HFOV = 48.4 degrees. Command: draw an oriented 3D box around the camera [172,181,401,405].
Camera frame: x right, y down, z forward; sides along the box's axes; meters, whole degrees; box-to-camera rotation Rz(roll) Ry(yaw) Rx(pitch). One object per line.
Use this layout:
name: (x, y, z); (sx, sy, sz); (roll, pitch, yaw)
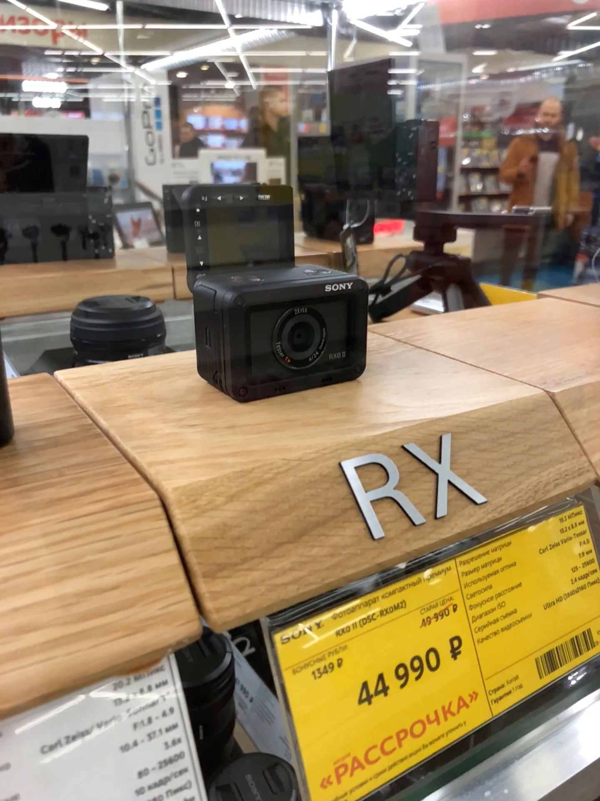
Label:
camera: (-0.006, -0.043, 0.242); (0.062, 0.067, 0.050); (-12, 23, -30)

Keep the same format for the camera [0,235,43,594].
camera: (-0.132, -0.005, 0.178); (0.105, 0.067, 0.041); (-12, 23, -30)
